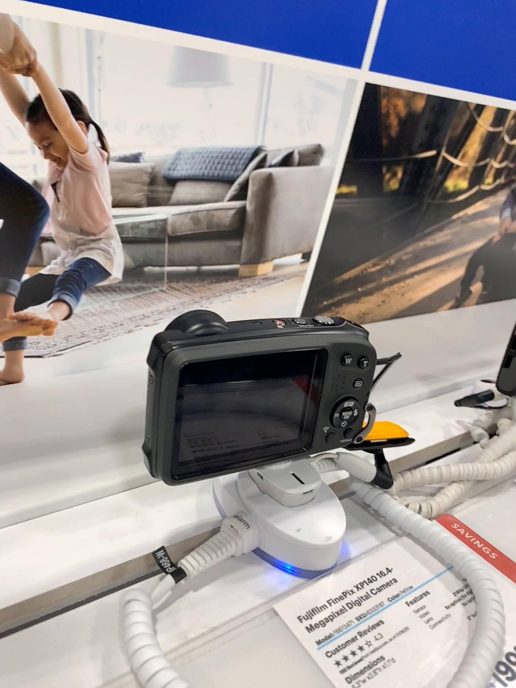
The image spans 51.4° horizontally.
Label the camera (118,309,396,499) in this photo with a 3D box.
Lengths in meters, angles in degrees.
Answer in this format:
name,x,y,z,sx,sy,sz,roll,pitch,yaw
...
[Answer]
name,x,y,z,sx,sy,sz,roll,pitch,yaw
camera,0.001,0.020,0.237,0.110,0.060,0.040,-3,24,-34
